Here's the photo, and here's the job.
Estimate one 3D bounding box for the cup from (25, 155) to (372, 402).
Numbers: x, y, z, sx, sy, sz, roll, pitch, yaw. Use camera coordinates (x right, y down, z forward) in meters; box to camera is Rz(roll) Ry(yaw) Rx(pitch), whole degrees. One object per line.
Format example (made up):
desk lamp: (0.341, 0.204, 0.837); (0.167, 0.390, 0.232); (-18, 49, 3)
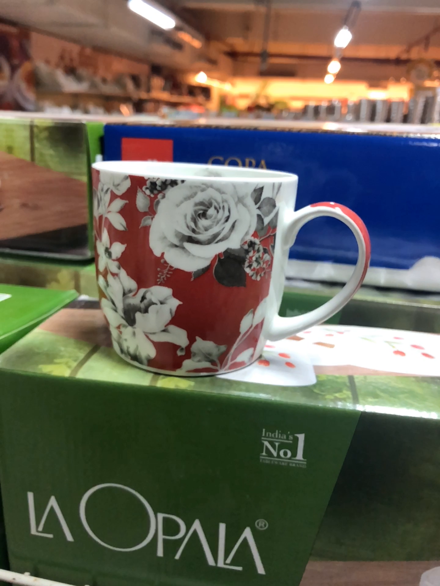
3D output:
cup: (-0.002, -0.017, 0.204); (0.110, 0.070, 0.090); (7, 16, 12)
